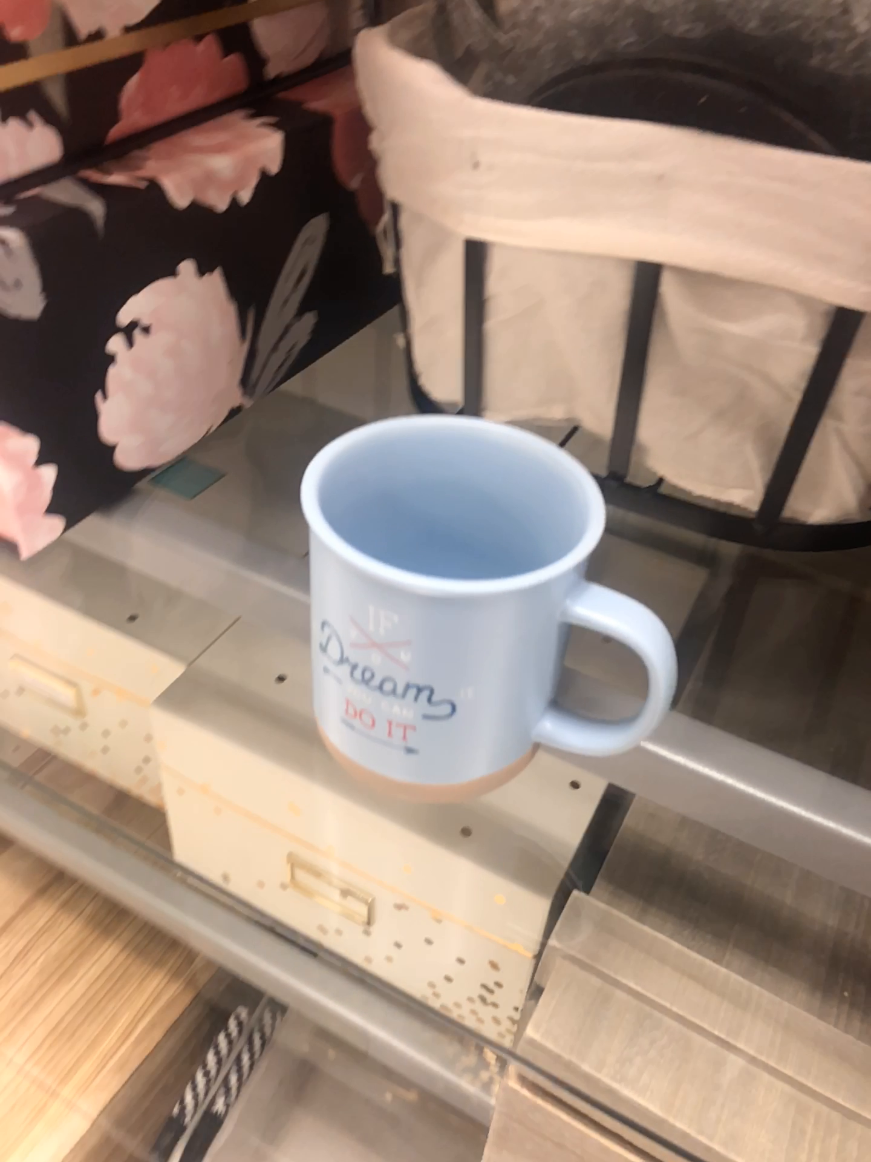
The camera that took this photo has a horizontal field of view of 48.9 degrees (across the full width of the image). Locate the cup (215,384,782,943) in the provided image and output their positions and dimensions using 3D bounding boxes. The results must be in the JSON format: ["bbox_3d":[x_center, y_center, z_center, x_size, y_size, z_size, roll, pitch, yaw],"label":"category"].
[{"bbox_3d":[0.019,0.020,0.315,0.139,0.100,0.100,21,43,19],"label":"cup"}]
